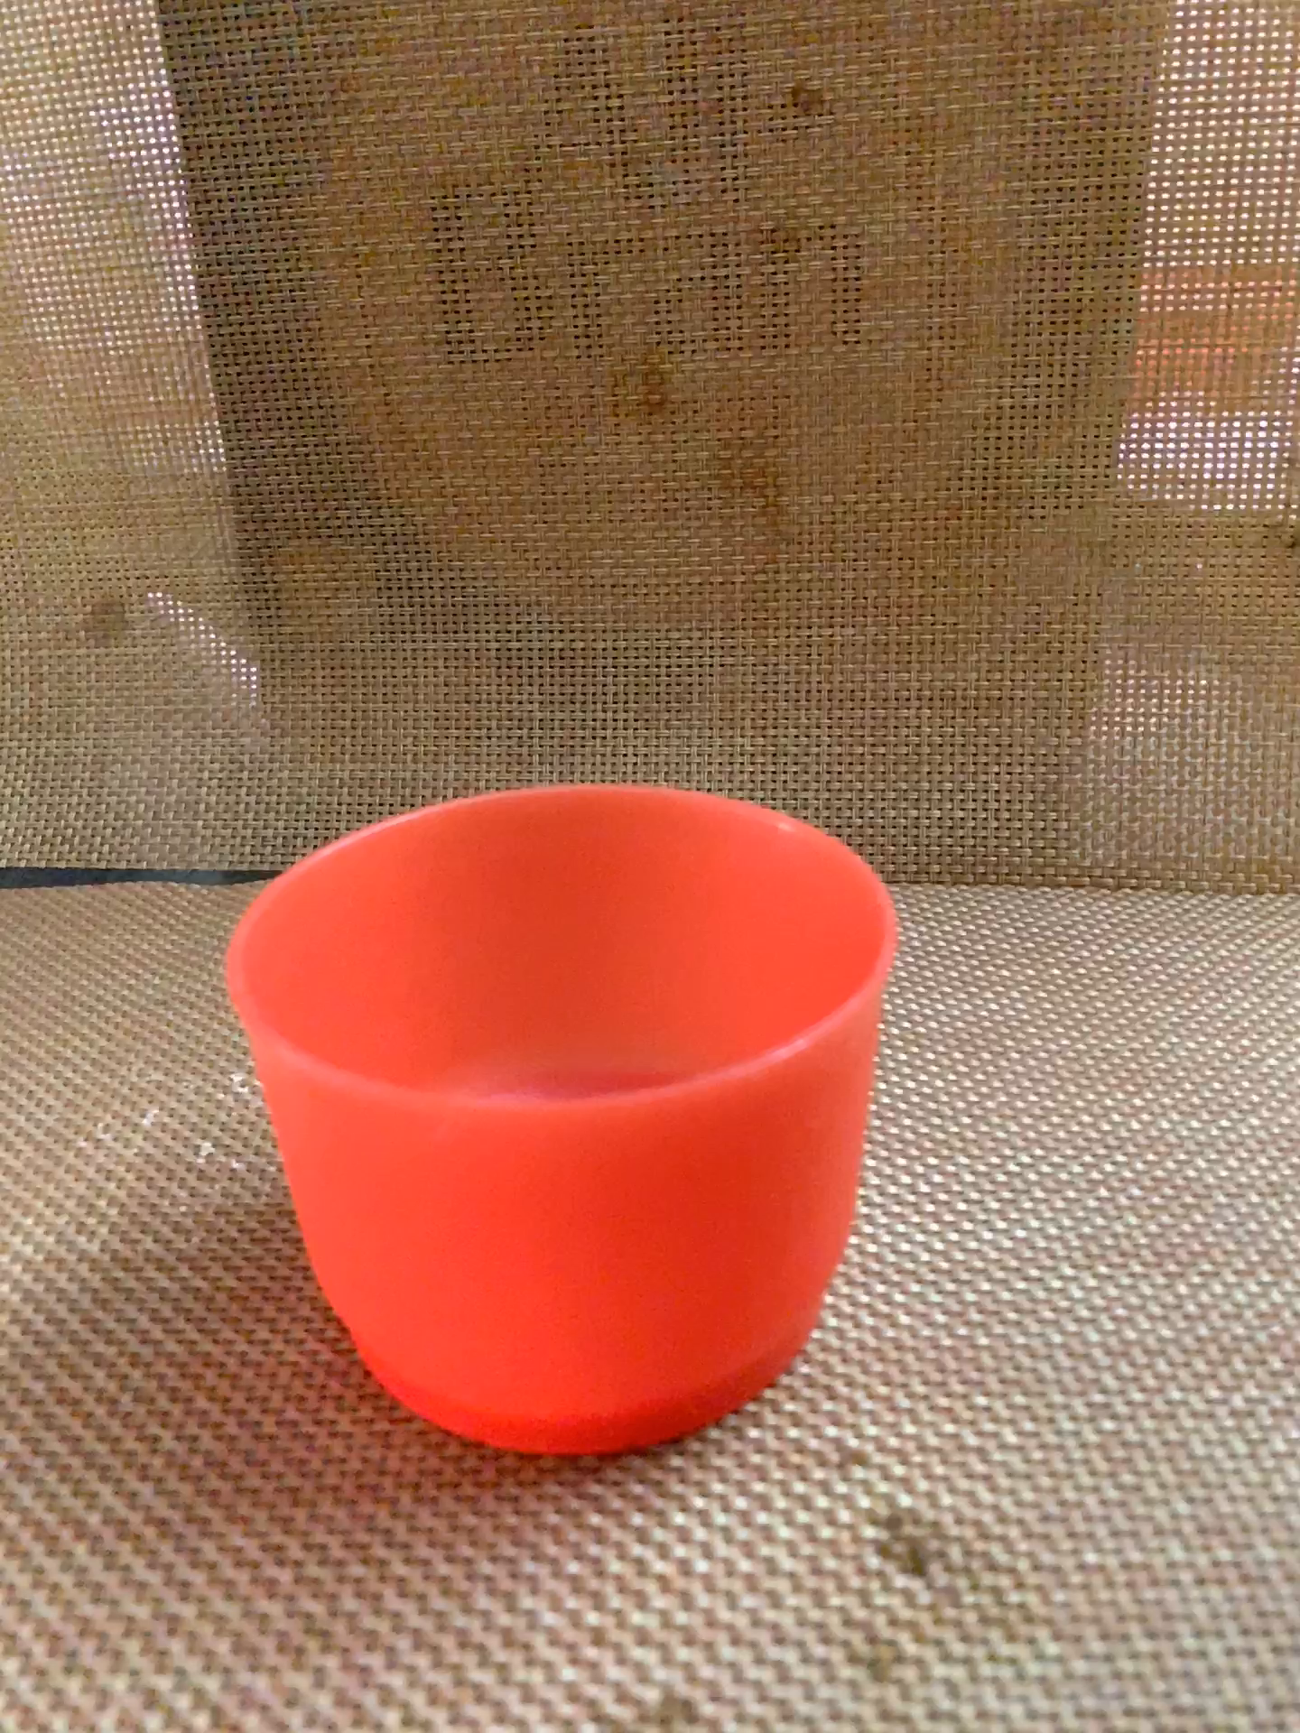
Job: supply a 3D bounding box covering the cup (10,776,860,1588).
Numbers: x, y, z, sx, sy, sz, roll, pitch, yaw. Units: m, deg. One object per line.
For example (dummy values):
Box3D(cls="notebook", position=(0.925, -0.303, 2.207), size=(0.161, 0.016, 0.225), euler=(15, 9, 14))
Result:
Box3D(cls="cup", position=(-0.015, 0.028, 0.157), size=(0.070, 0.050, 0.070), euler=(-1, 26, 1))
